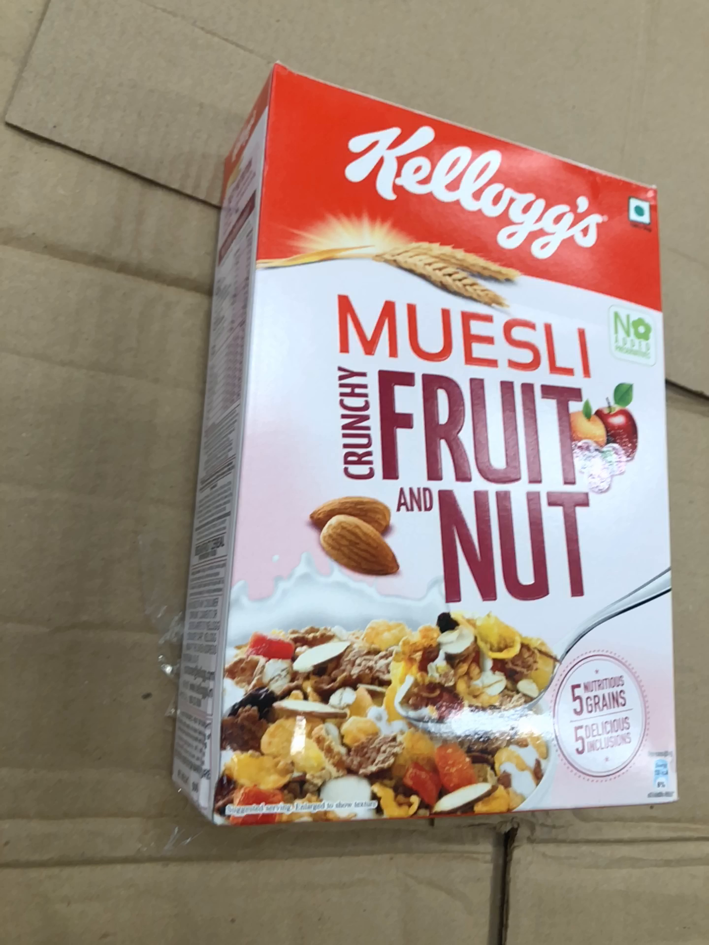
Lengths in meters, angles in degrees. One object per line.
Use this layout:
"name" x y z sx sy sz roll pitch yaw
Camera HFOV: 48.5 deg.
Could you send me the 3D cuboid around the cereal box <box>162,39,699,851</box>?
"cereal box" 0.029 -0.006 0.303 0.171 0.080 0.250 7 77 -22
